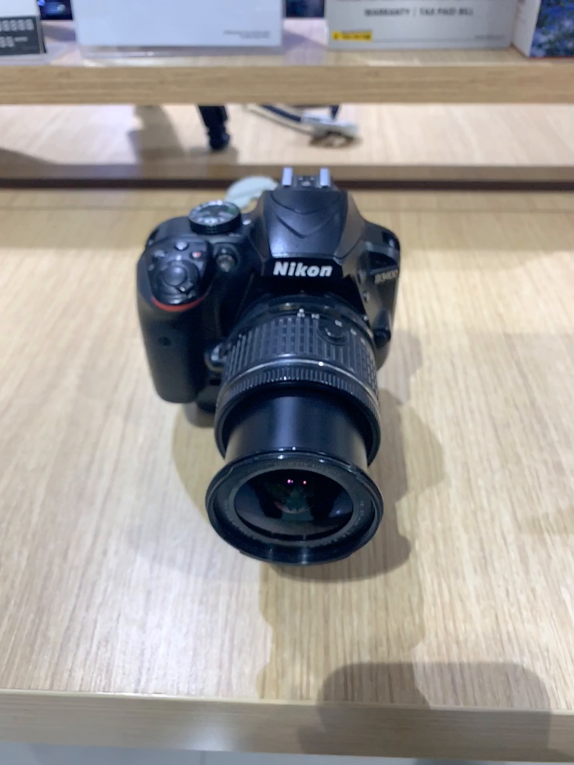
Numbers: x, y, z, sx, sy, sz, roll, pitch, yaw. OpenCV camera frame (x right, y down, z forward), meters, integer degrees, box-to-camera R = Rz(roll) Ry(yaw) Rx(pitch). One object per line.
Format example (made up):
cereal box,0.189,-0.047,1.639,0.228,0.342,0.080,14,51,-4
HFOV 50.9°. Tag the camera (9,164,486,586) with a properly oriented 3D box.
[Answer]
camera,-0.008,-0.011,0.235,0.120,0.094,0.140,0,42,2
